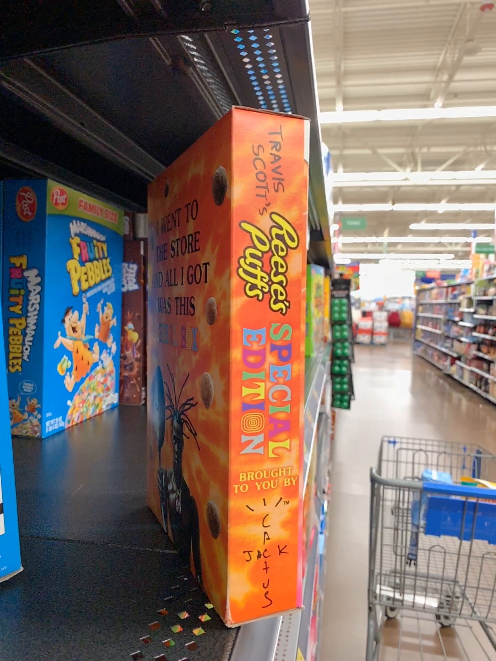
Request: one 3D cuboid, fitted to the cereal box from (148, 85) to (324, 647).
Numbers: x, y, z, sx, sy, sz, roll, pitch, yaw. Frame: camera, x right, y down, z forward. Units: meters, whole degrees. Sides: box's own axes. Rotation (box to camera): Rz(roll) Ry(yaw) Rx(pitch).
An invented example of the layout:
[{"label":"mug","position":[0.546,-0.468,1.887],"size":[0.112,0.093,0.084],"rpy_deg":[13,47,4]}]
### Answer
[{"label":"cereal box","position":[-0.023,0.015,0.365],"size":[0.050,0.290,0.200],"rpy_deg":[-1,4,-23]}]
